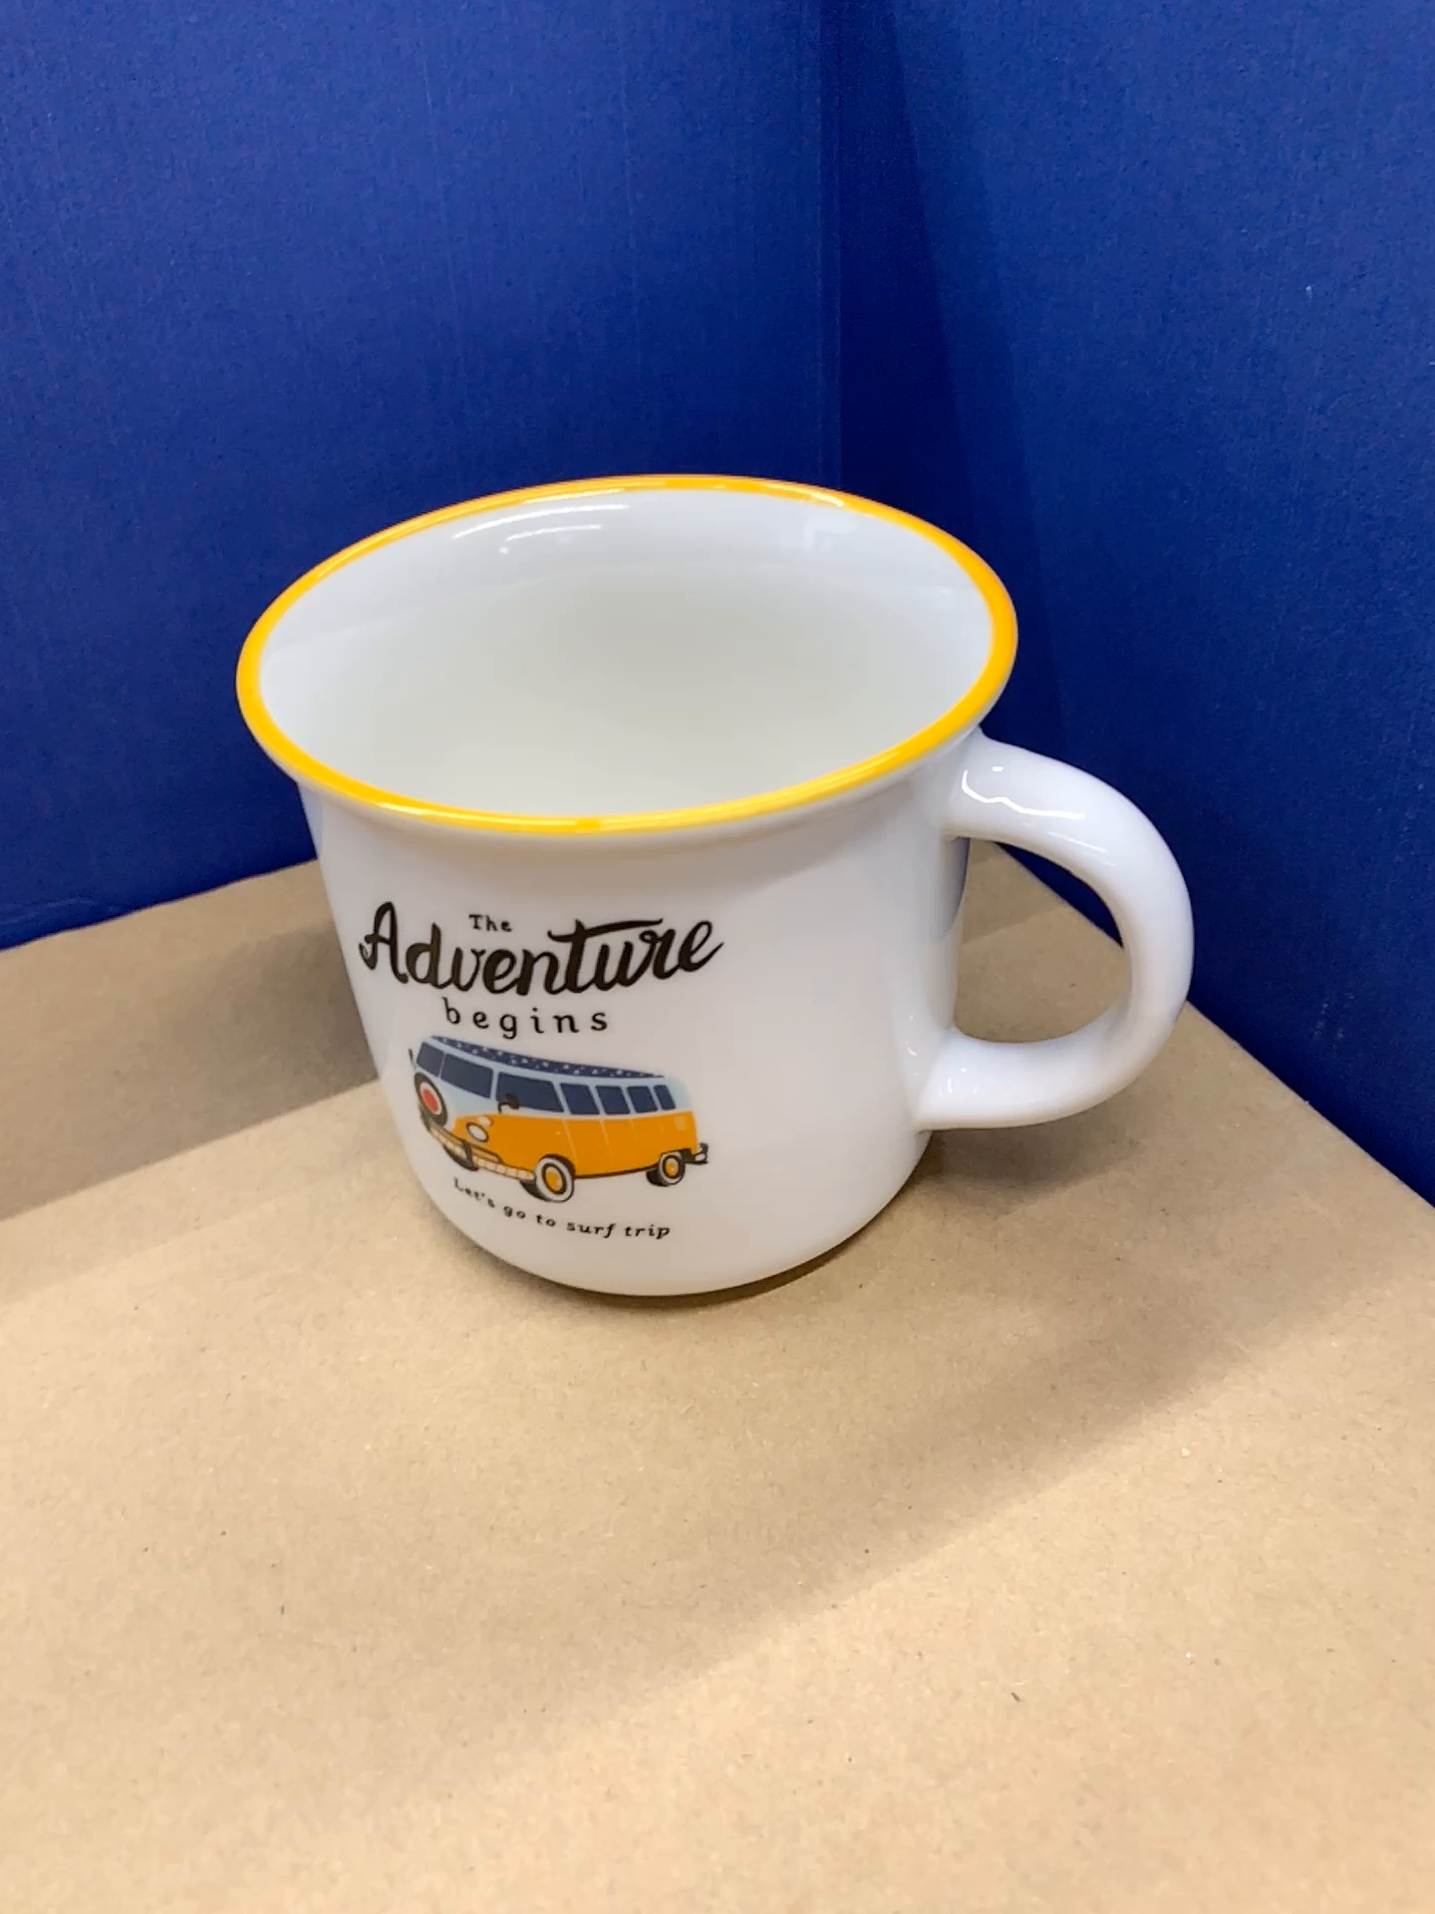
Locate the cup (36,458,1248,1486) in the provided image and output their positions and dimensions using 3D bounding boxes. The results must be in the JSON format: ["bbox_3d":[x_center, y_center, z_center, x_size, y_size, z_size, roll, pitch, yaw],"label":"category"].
[{"bbox_3d":[0.001,-0.009,0.211,0.124,0.083,0.102,9,38,16],"label":"cup"}]
